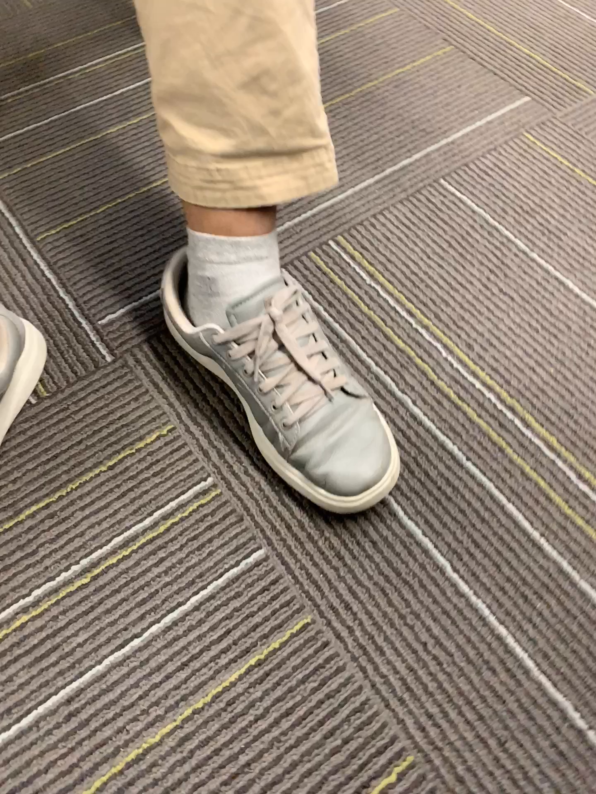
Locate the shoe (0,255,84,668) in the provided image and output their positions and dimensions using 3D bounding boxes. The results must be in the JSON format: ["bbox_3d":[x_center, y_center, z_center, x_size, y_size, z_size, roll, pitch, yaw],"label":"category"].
[{"bbox_3d":[-0.285,0.045,0.469,0.120,0.140,0.270,7,59,4],"label":"shoe"}]

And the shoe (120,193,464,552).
[{"bbox_3d":[-0.015,-0.029,0.522,0.120,0.110,0.280,-34,65,-19],"label":"shoe"}]
